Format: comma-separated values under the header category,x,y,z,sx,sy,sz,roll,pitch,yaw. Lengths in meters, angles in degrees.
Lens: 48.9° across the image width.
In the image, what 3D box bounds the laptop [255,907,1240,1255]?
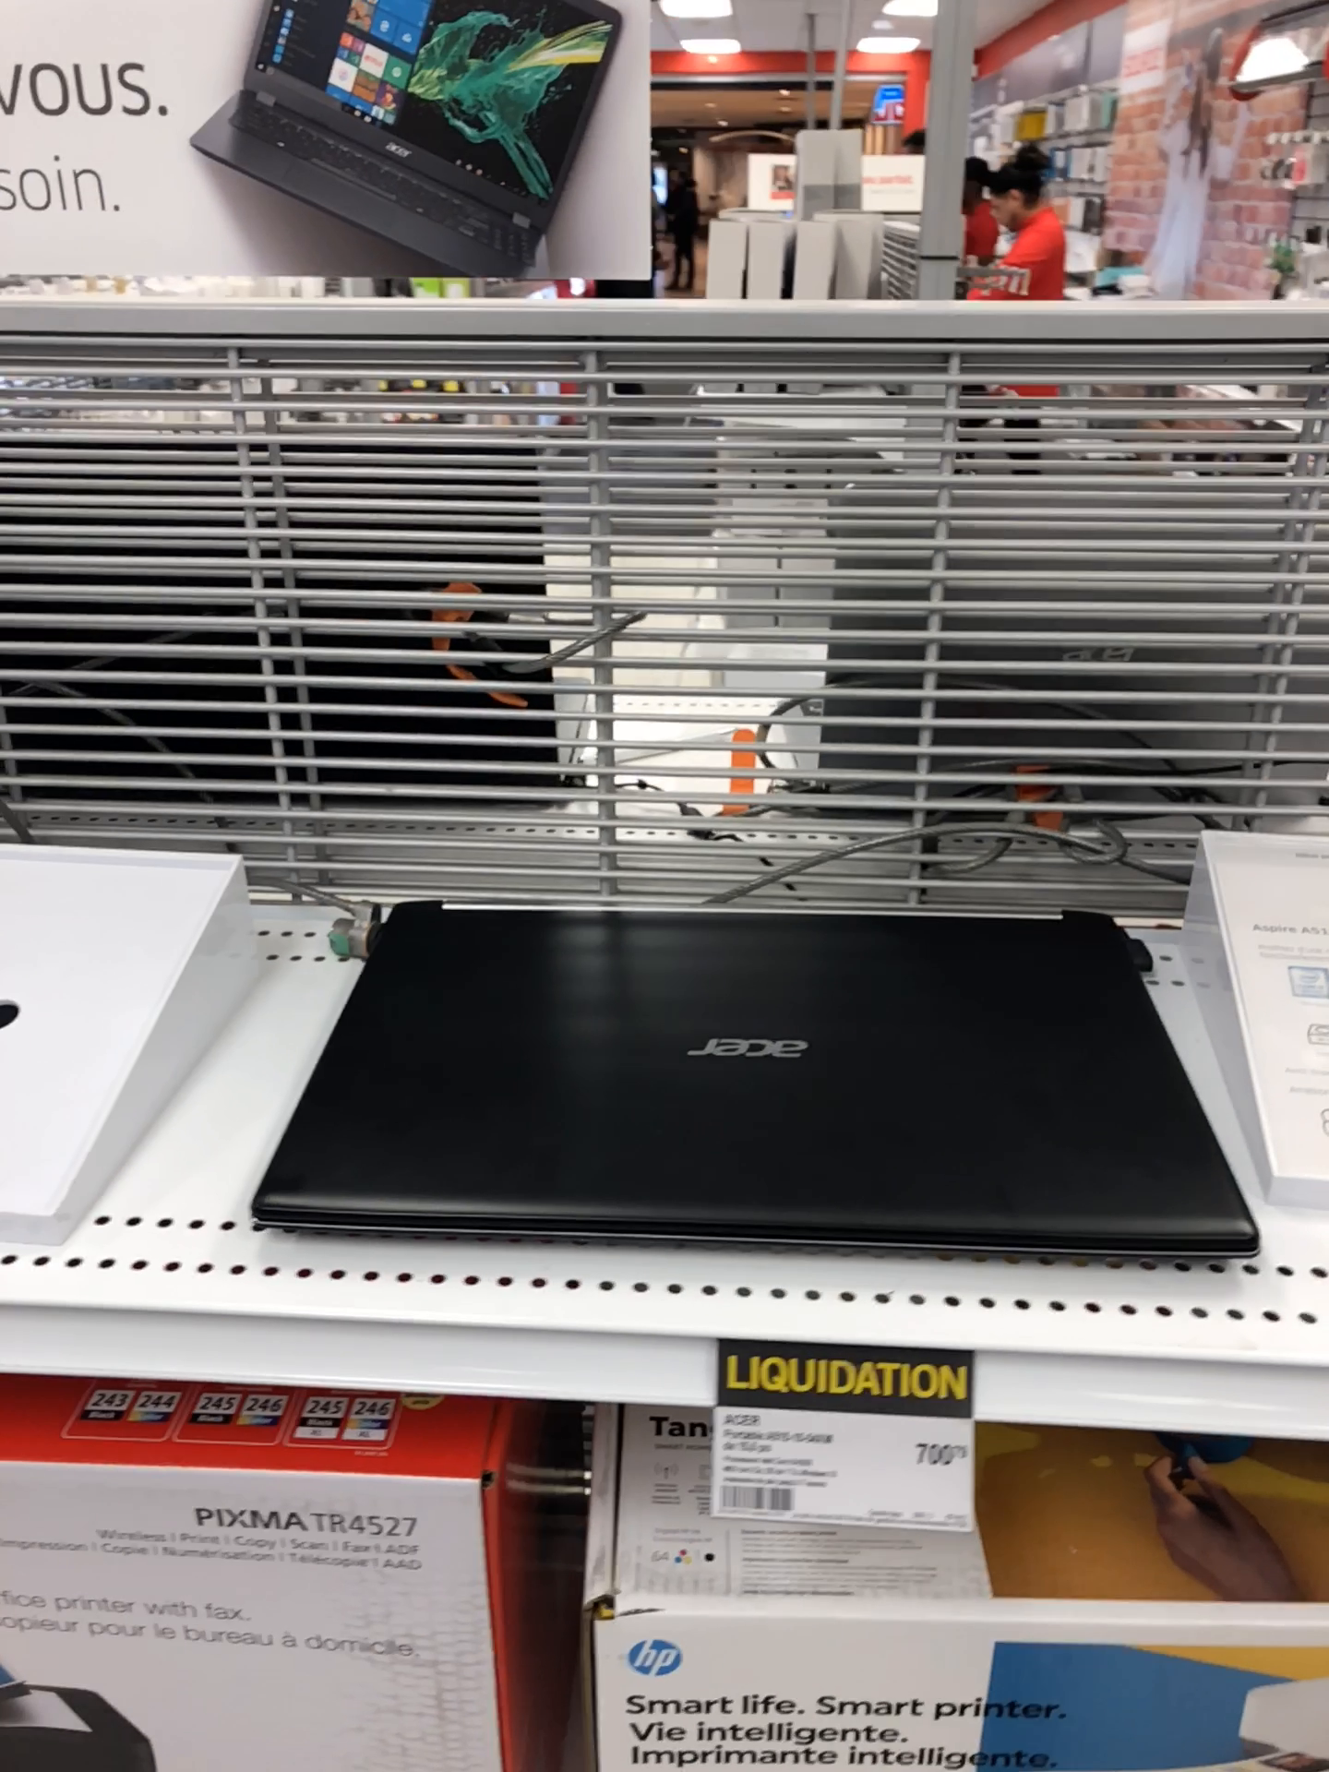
category,x,y,z,sx,sy,sz,roll,pitch,yaw
laptop,0.036,0.073,0.639,0.361,0.012,0.228,1,28,2
